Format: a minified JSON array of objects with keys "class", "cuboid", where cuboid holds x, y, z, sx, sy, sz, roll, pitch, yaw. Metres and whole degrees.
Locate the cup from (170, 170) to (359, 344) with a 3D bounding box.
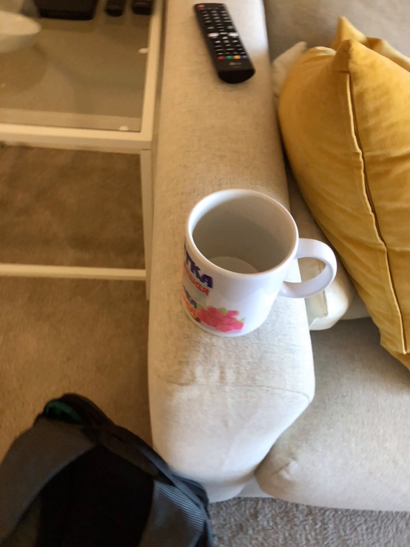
[{"class":"cup","cuboid":[0.038,-0.009,0.356,0.120,0.100,0.080,6,55,-2]}]
